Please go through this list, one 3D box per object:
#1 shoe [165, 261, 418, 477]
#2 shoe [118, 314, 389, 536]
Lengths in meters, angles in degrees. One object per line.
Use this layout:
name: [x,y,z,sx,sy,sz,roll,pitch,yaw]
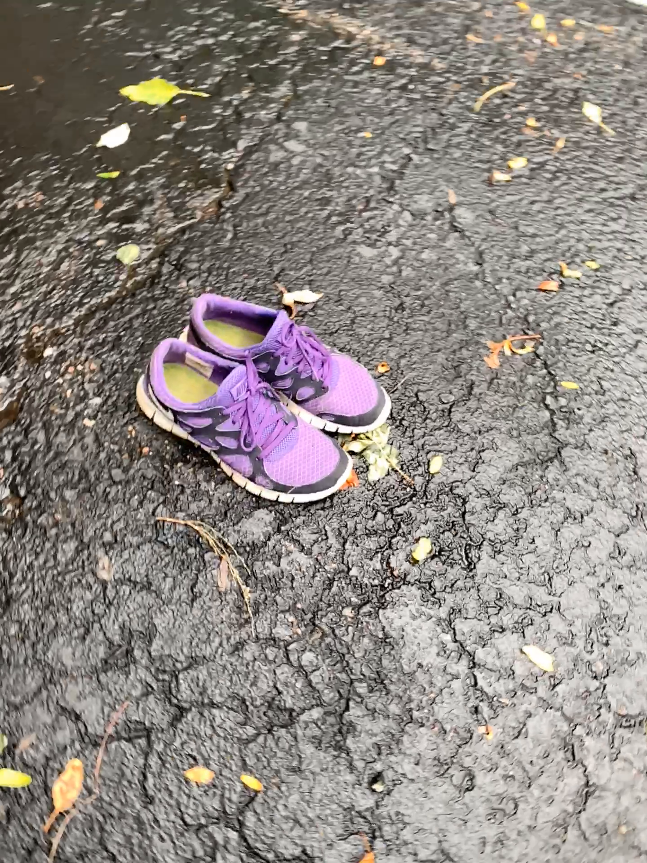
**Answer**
shoe: [-0.044,-0.079,0.867,0.300,0.100,0.110,31,60,-1]
shoe: [-0.087,-0.006,0.808,0.300,0.090,0.110,30,60,2]
